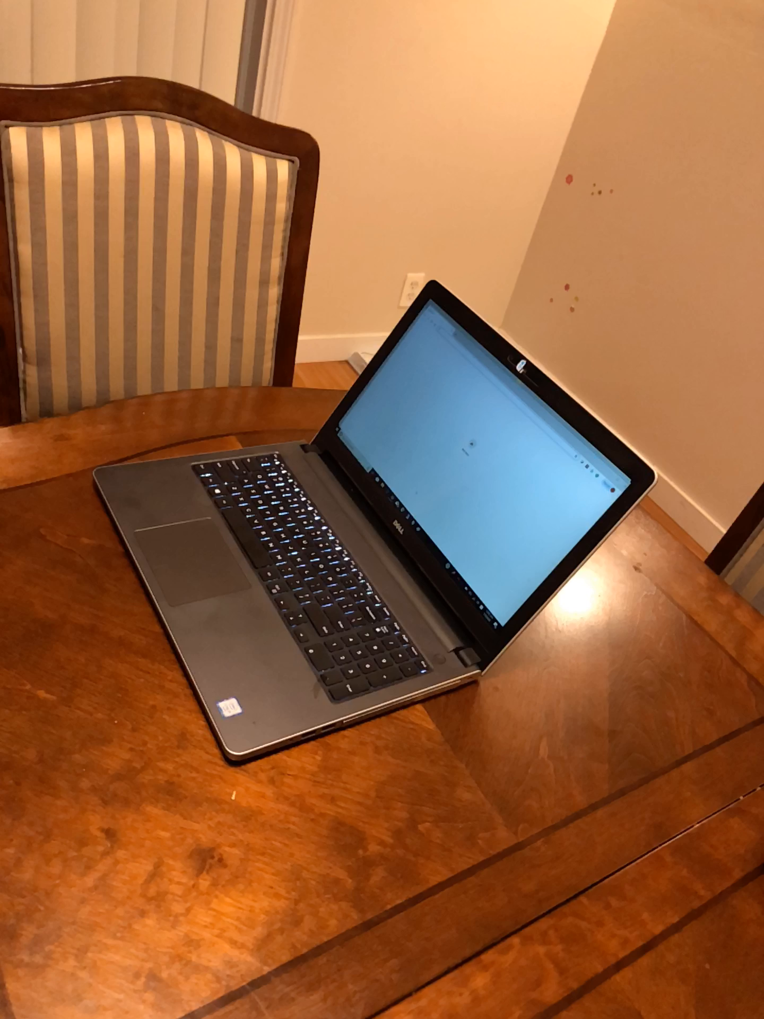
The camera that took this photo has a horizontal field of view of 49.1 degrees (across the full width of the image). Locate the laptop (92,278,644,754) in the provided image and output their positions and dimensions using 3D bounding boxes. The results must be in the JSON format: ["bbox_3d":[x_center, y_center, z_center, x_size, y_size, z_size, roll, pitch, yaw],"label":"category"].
[{"bbox_3d":[-0.040,-0.035,0.797,0.360,0.212,0.371,-10,45,-31],"label":"laptop"}]
